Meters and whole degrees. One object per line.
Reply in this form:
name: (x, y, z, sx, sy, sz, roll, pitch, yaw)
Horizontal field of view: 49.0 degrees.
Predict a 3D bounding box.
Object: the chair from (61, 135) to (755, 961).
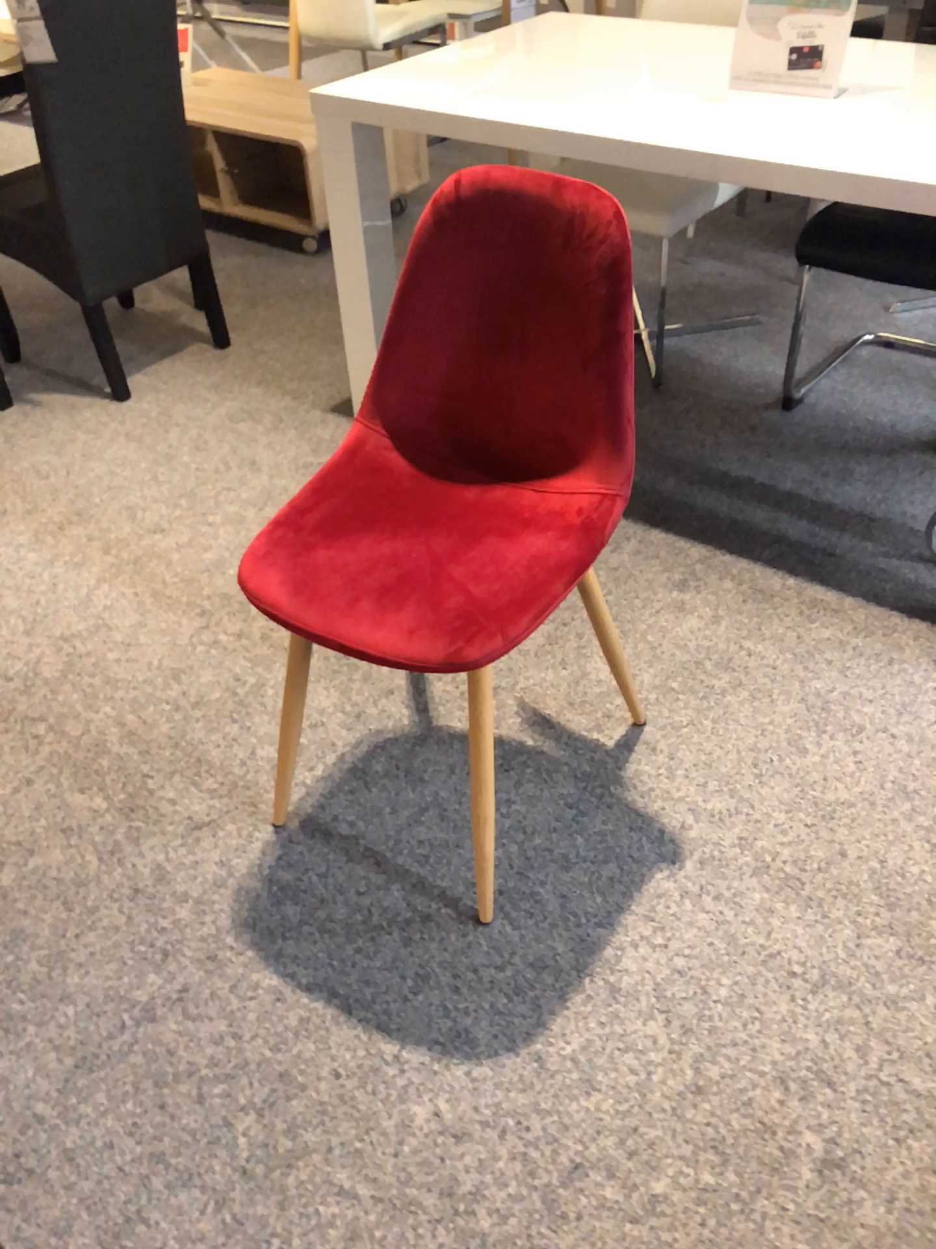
chair: (-0.023, -0.116, 1.362, 0.530, 0.815, 0.553, 19, 44, 25)
